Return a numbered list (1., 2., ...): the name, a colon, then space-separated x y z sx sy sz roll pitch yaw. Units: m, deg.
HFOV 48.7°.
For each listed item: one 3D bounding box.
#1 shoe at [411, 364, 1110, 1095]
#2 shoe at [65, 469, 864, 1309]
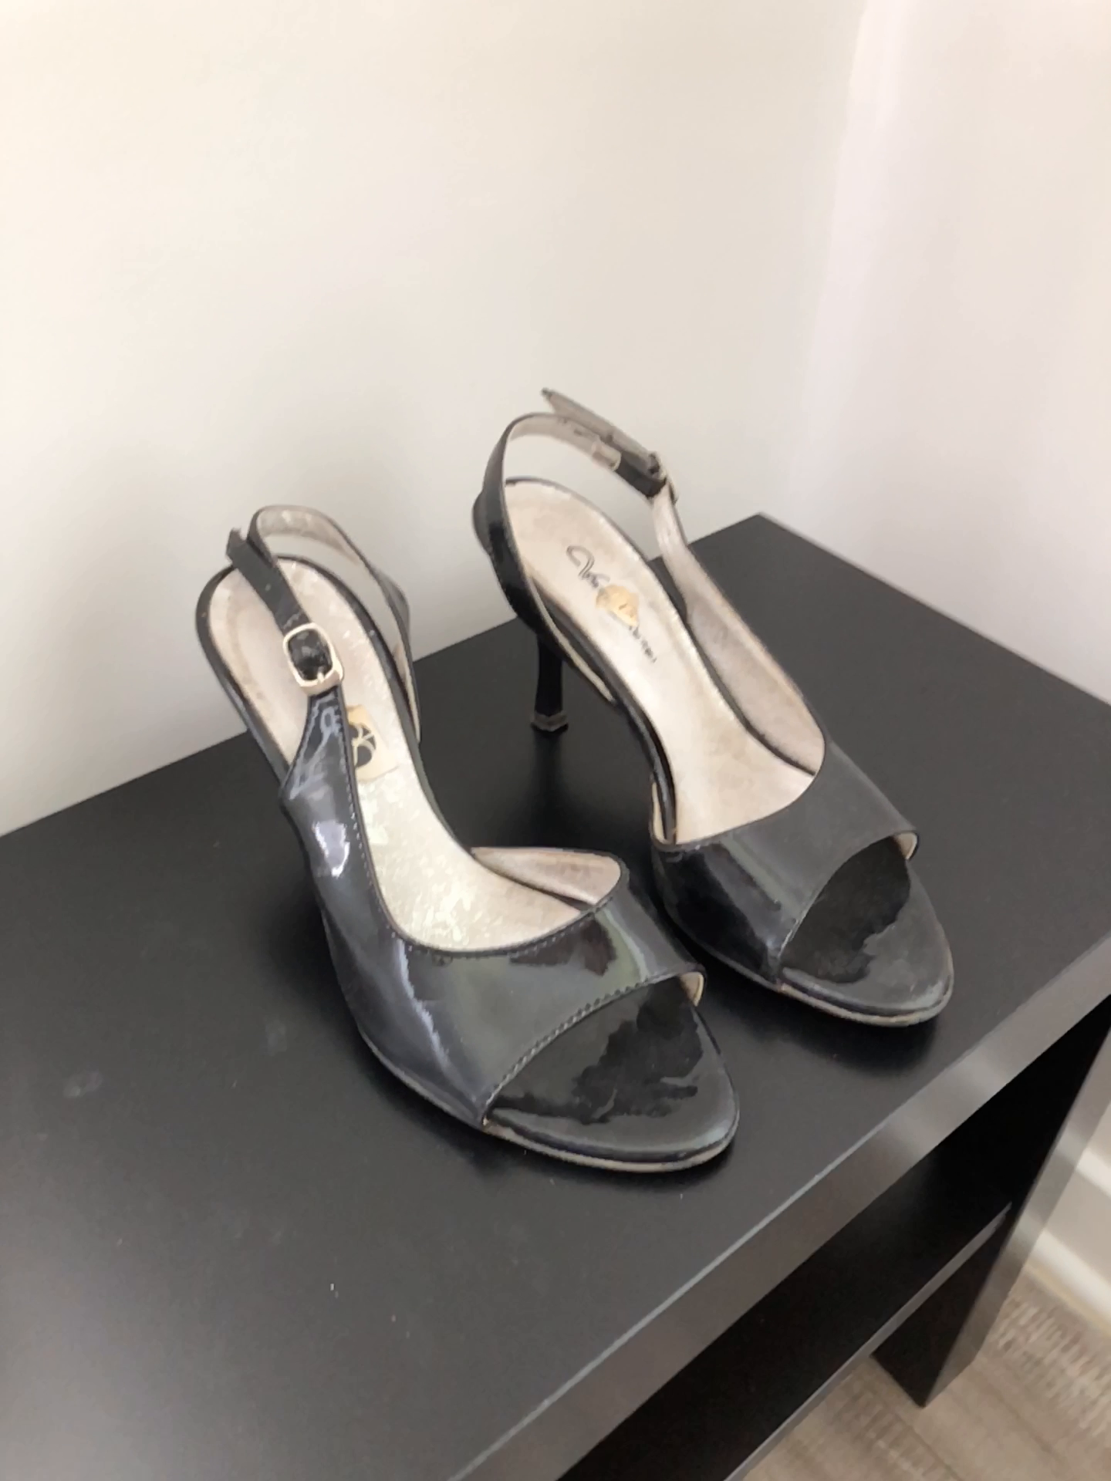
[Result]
1. shoe: 0.049 -0.018 0.375 0.083 0.110 0.211 -24 46 -28
2. shoe: -0.036 0.025 0.338 0.083 0.110 0.211 -29 48 -32
